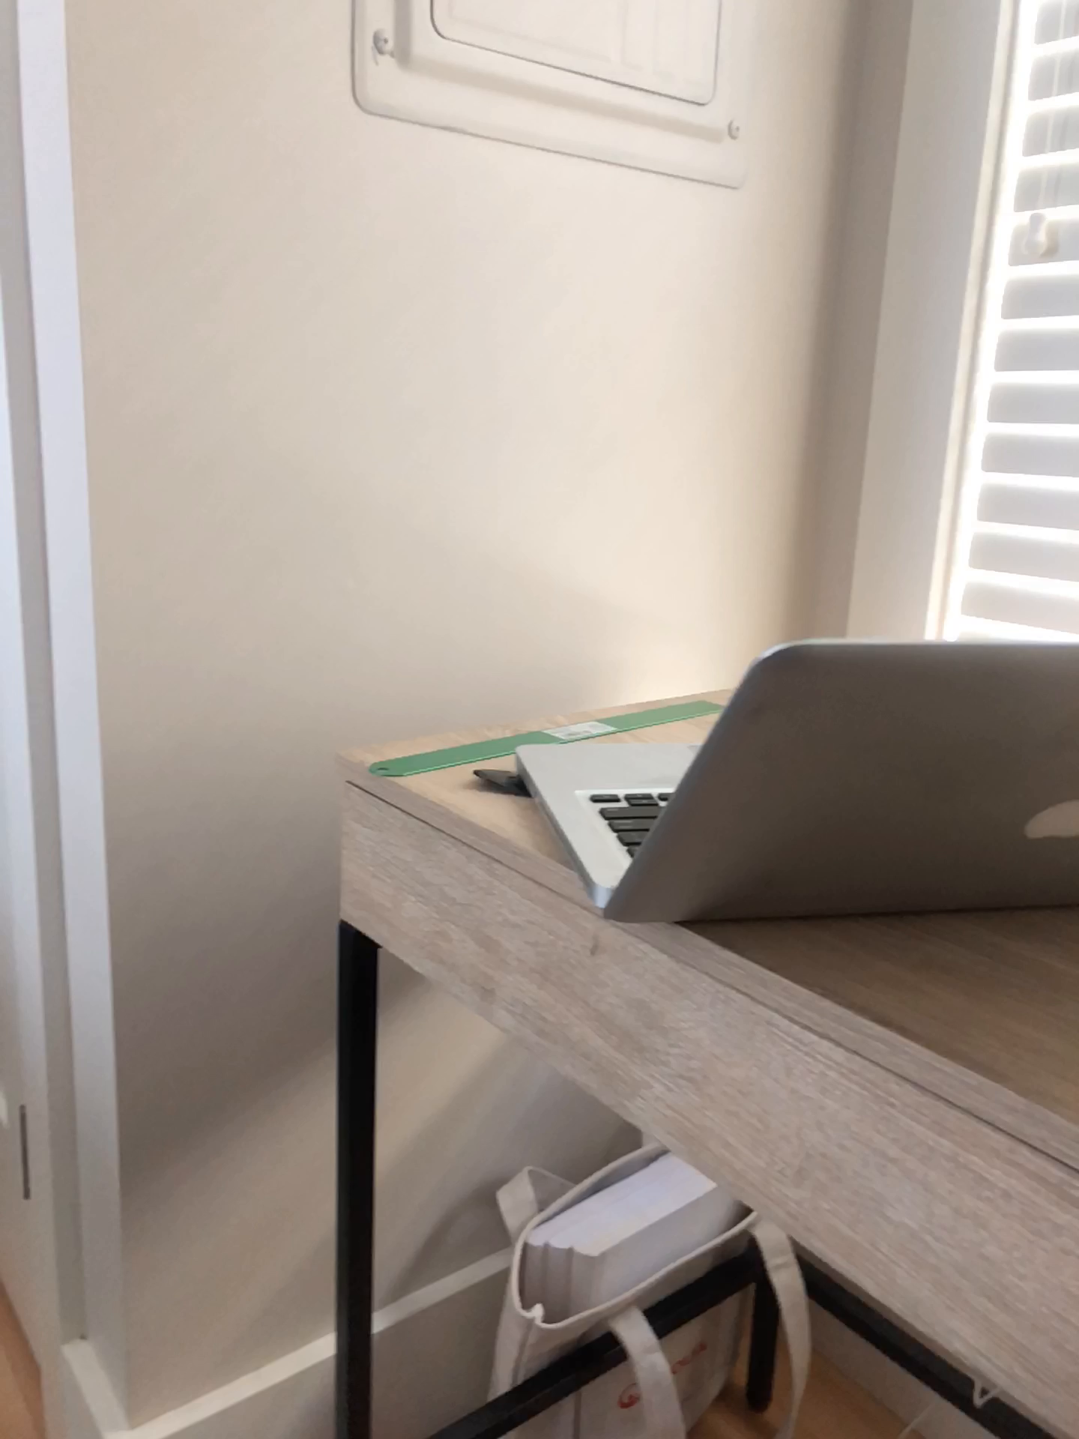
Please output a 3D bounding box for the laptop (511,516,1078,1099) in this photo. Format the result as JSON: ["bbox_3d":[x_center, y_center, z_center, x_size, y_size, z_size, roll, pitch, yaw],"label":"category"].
[{"bbox_3d":[0.178,0.000,0.537,0.320,0.133,0.347,-1,16,-12],"label":"laptop"}]
